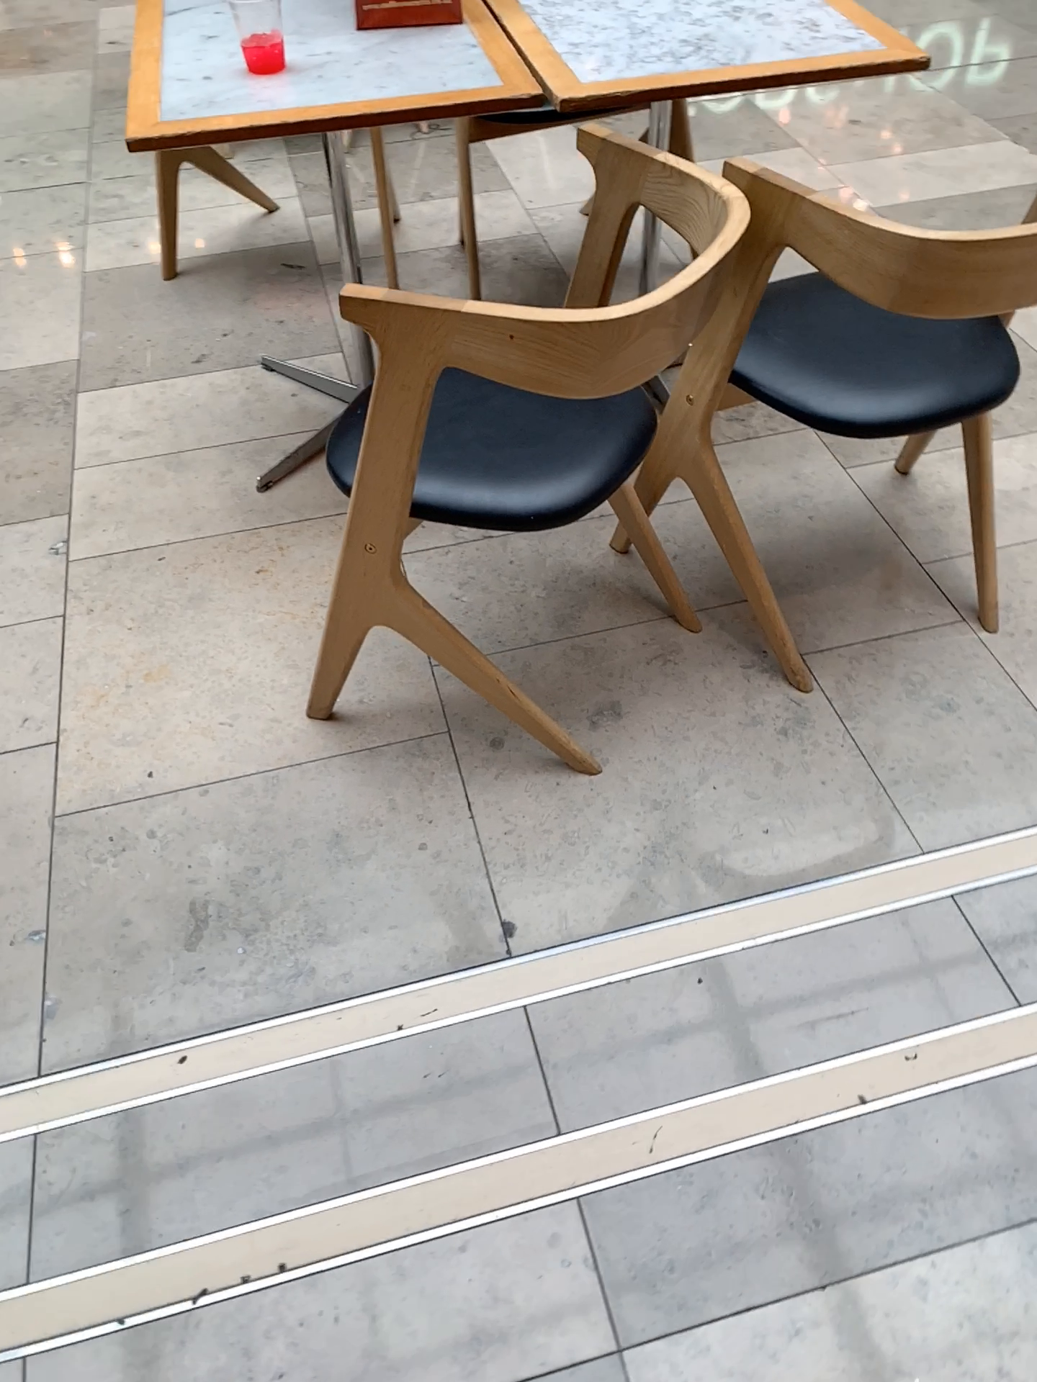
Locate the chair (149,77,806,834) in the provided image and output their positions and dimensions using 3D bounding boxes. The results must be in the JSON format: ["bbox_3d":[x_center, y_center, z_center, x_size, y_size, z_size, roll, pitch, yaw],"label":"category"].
[{"bbox_3d":[-0.009,-0.339,1.484,0.500,0.707,0.647,23,52,21],"label":"chair"}]

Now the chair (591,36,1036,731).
[{"bbox_3d":[0.516,-0.456,1.580,0.634,0.717,0.534,-18,49,-14],"label":"chair"}]
